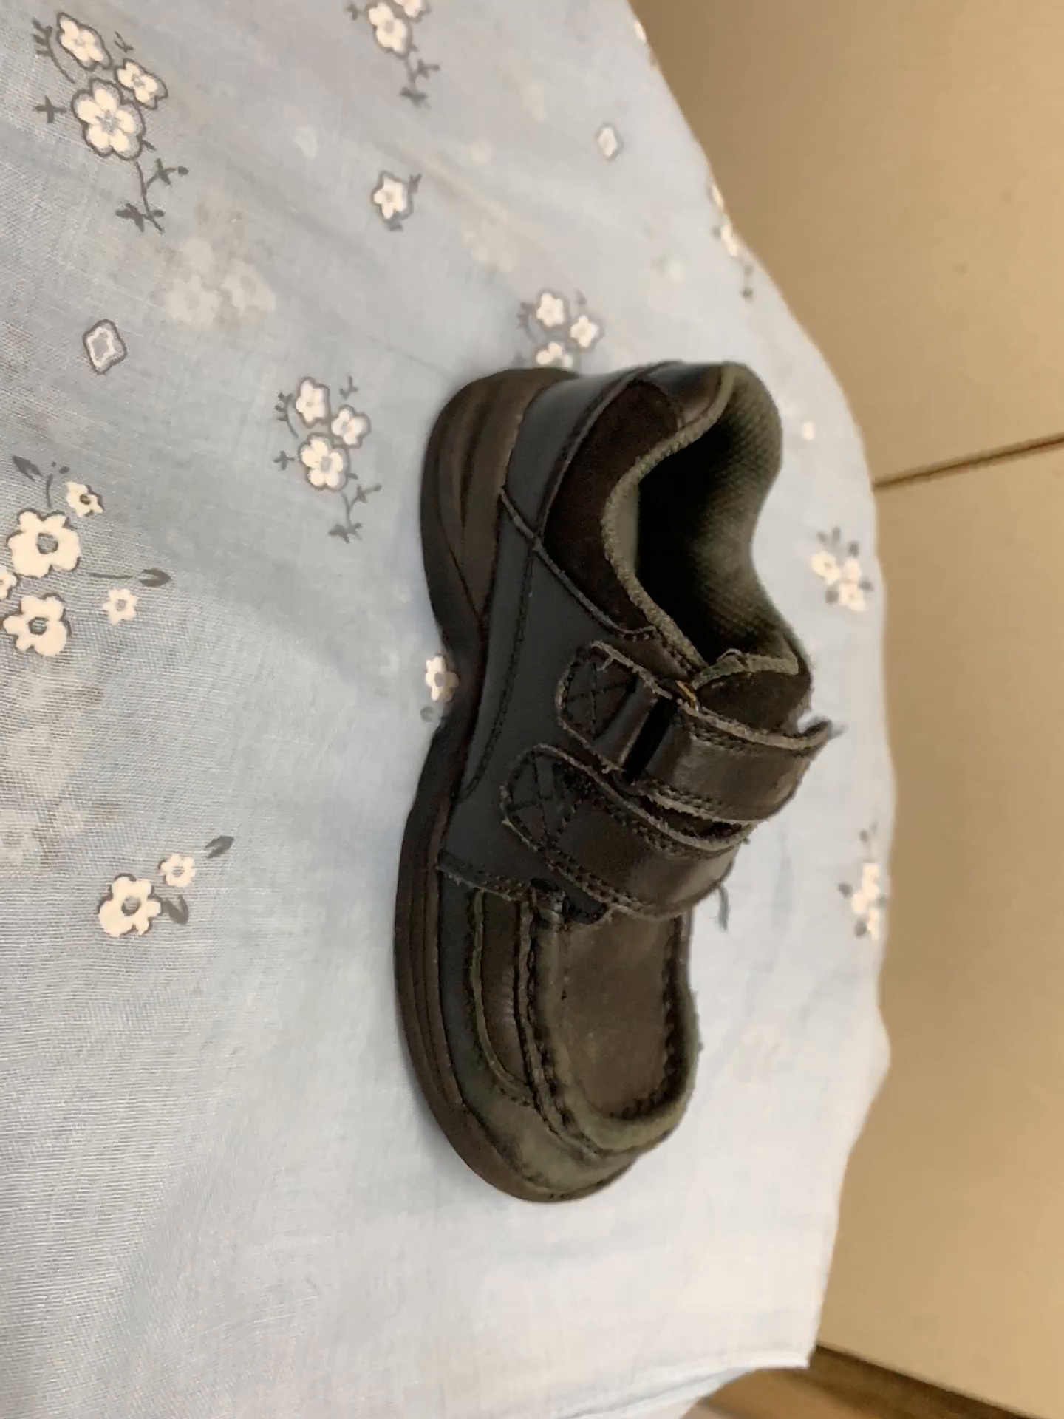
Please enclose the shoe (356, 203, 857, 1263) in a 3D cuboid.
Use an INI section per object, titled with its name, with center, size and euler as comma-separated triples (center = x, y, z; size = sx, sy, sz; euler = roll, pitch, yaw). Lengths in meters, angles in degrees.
[shoe]
center = 0.018, 0.005, 0.251
size = 0.079, 0.073, 0.190
euler = 9, 79, -44
